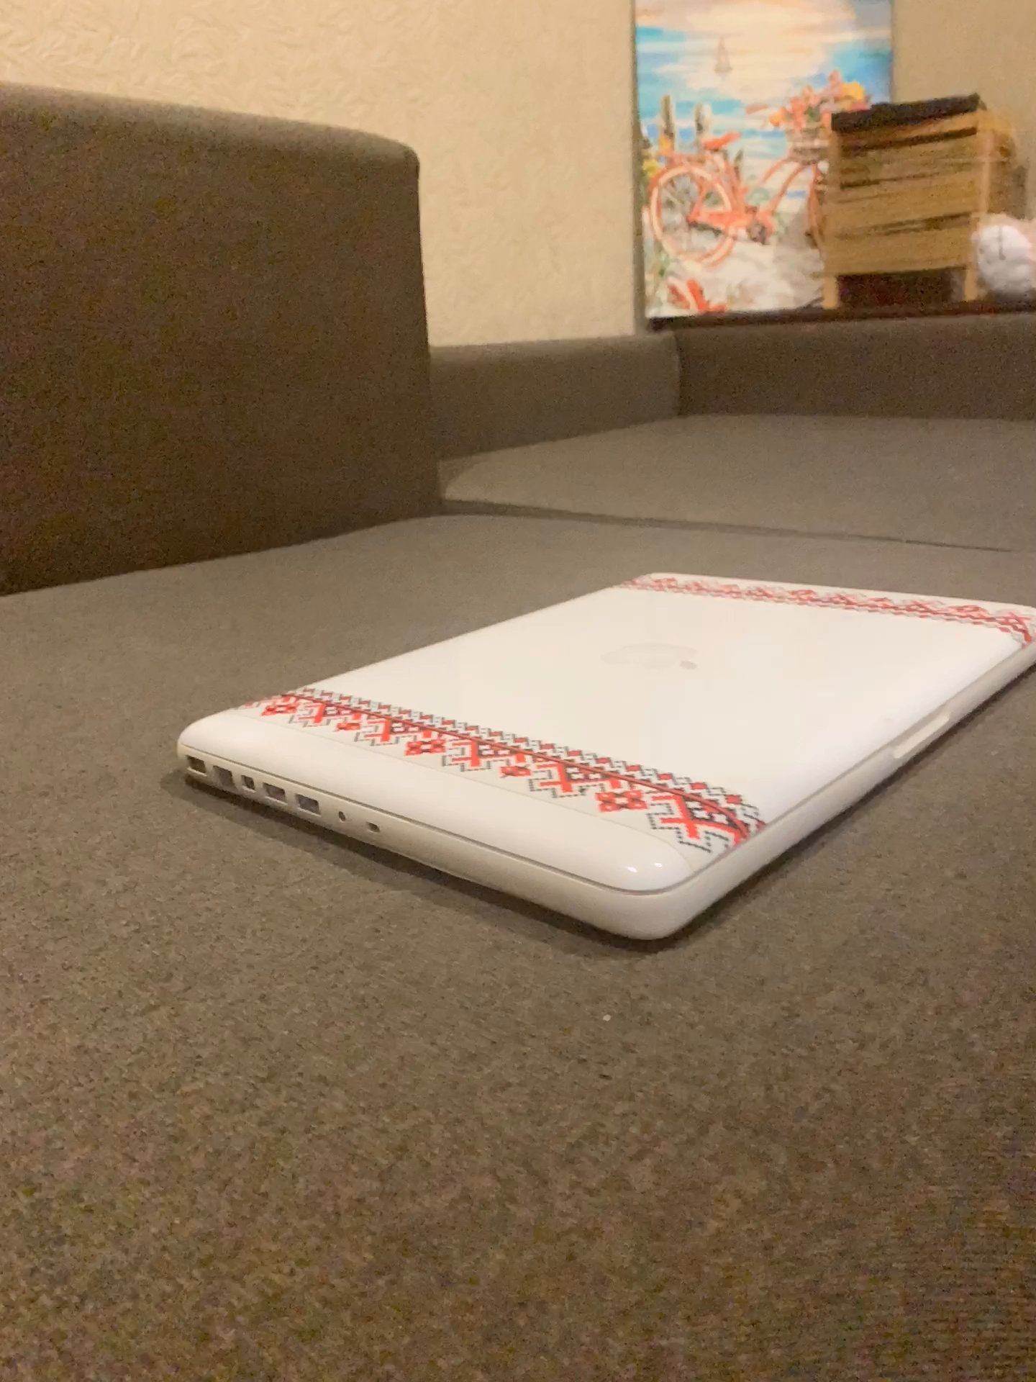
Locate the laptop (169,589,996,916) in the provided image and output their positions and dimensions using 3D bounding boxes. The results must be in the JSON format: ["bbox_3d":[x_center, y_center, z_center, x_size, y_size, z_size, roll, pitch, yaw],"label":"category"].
[{"bbox_3d":[0.047,-0.002,0.474,0.222,0.003,0.325,12,22,38],"label":"laptop"}]
